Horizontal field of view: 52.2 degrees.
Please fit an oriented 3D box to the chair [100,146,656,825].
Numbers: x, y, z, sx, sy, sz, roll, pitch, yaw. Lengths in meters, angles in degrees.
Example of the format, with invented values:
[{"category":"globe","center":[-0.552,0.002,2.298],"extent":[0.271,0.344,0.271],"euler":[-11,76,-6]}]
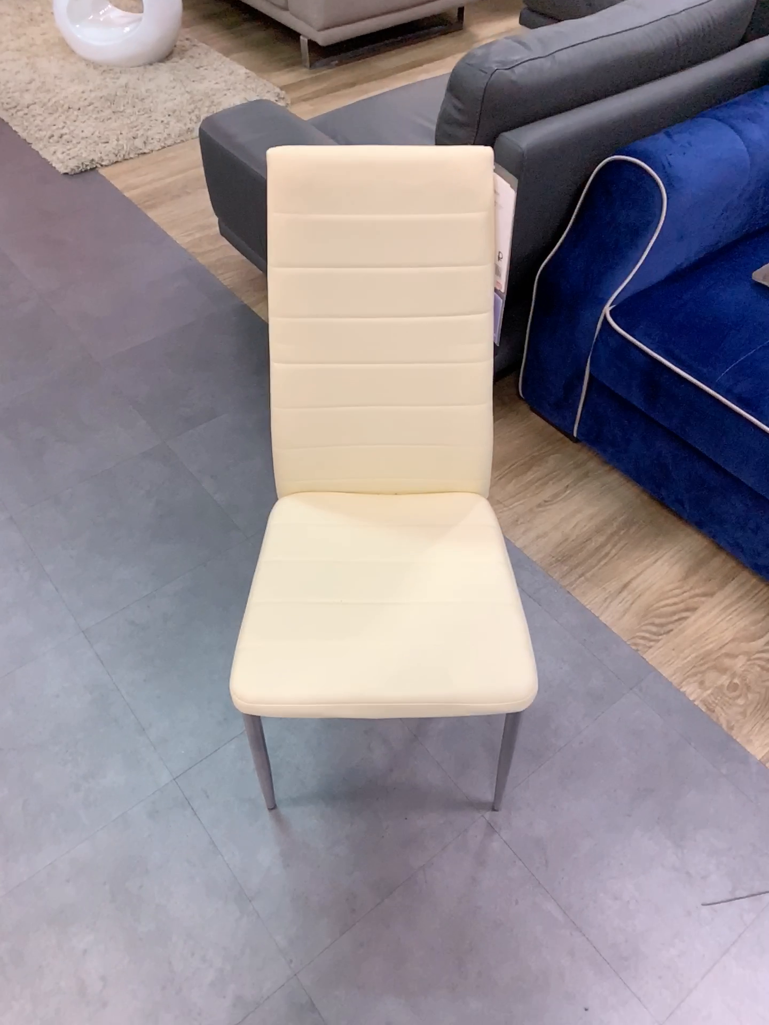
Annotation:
[{"category":"chair","center":[0.000,0.048,1.144],"extent":[0.445,0.941,0.479],"euler":[0,50,1]}]
